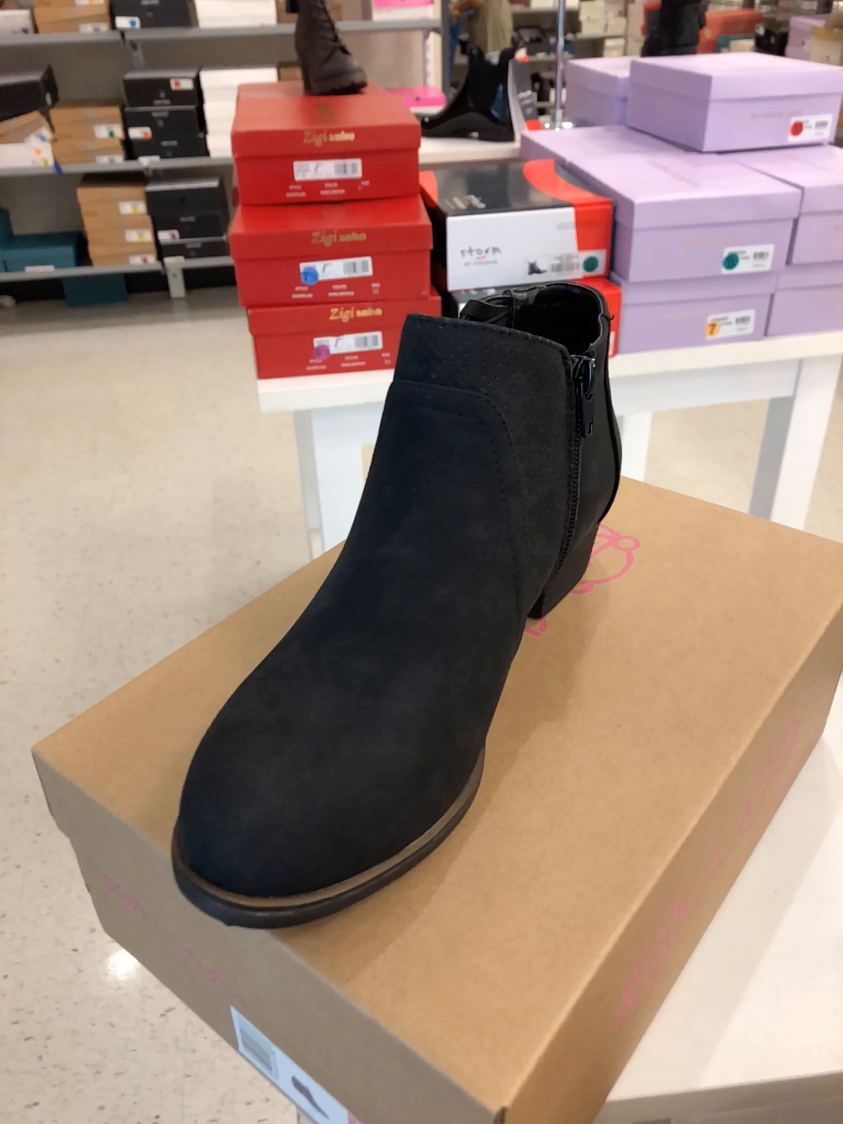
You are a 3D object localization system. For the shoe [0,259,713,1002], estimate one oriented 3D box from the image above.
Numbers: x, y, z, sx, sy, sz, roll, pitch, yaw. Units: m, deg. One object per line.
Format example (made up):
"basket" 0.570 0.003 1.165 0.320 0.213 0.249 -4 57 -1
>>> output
"shoe" 0.007 -0.008 0.332 0.100 0.119 0.262 18 38 26
